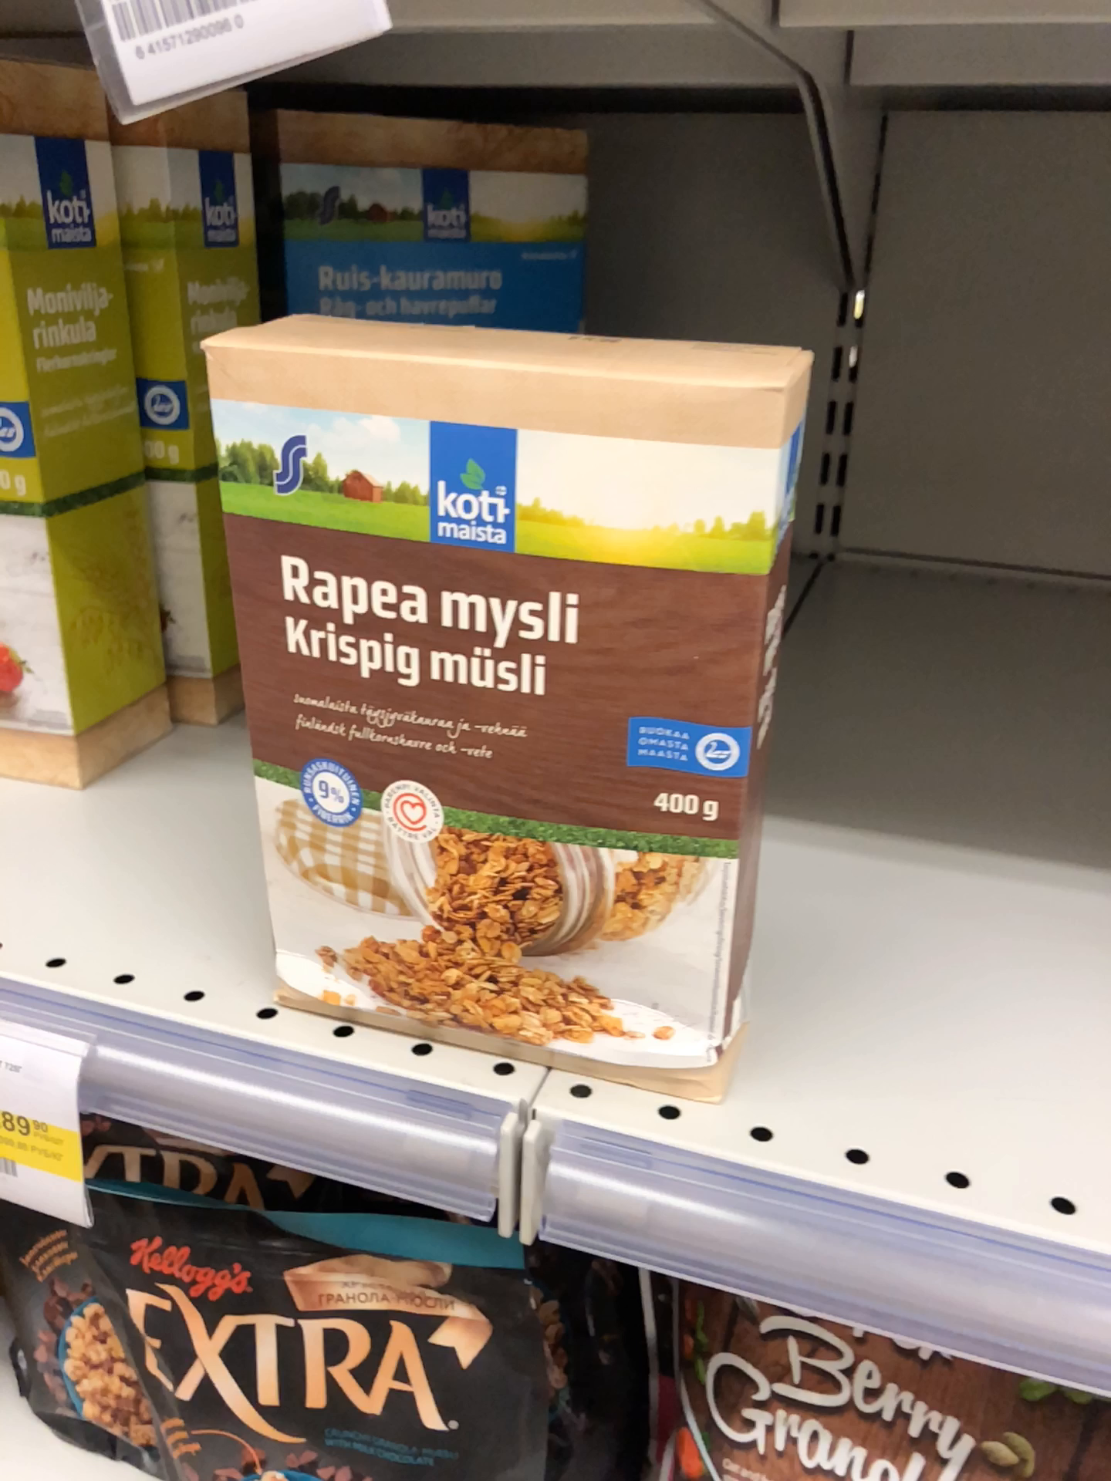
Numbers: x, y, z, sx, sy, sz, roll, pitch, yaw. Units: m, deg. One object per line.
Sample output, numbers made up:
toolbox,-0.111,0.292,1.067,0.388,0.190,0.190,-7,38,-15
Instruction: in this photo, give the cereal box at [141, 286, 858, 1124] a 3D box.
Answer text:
cereal box,-0.013,-0.009,0.313,0.150,0.189,0.050,8,26,15
